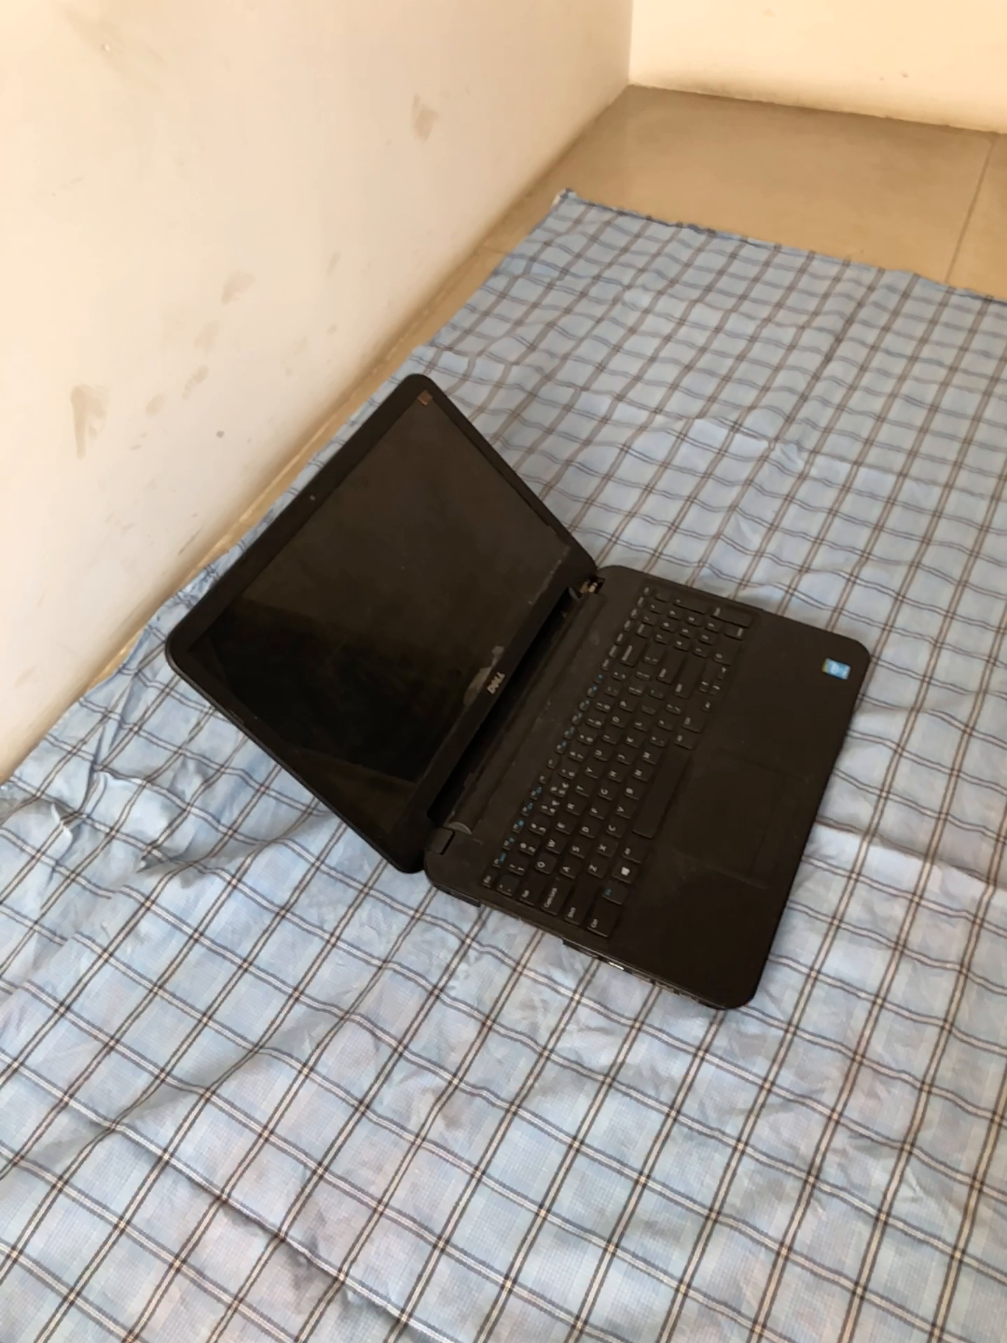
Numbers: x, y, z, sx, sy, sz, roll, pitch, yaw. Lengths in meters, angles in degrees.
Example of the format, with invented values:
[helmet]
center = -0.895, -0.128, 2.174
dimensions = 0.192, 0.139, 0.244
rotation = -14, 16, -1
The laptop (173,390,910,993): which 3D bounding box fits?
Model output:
[laptop]
center = 0.044, -0.016, 0.851
dimensions = 0.413, 0.163, 0.357
rotation = 17, 50, 19
